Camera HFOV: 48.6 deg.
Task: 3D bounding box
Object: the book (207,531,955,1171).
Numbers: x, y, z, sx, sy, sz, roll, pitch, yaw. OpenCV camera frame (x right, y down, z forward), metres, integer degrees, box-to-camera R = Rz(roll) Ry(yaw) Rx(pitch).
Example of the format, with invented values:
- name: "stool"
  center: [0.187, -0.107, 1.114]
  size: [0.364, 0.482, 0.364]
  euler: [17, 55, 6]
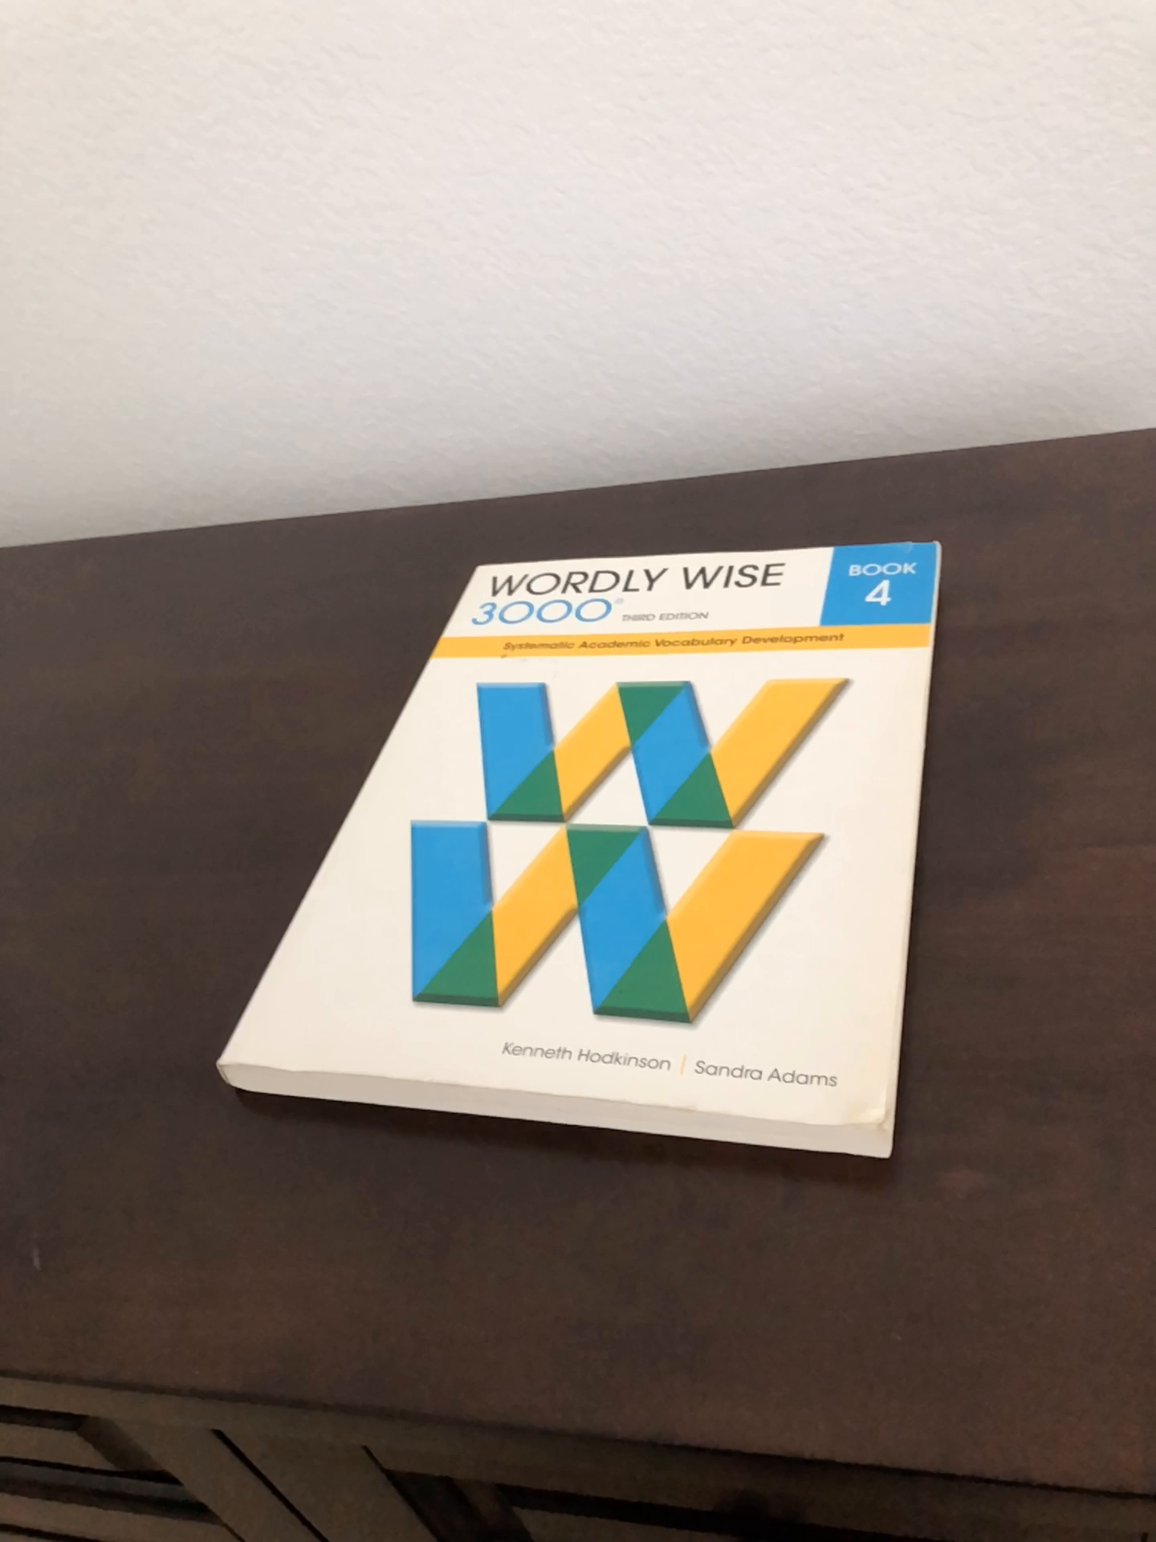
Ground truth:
- name: "book"
  center: [0.019, 0.004, 0.472]
  size: [0.217, 0.020, 0.275]
  euler: [1, 45, 20]
